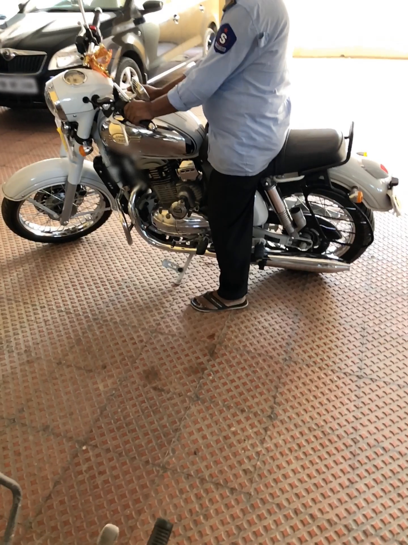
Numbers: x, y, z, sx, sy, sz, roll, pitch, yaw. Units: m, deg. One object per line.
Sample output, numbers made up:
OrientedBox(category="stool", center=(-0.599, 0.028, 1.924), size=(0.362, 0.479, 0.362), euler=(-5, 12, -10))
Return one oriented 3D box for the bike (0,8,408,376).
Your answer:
OrientedBox(category="bike", center=(-0.186, -0.393, 1.948), size=(1.897, 1.233, 0.849), euler=(5, 35, 8))
